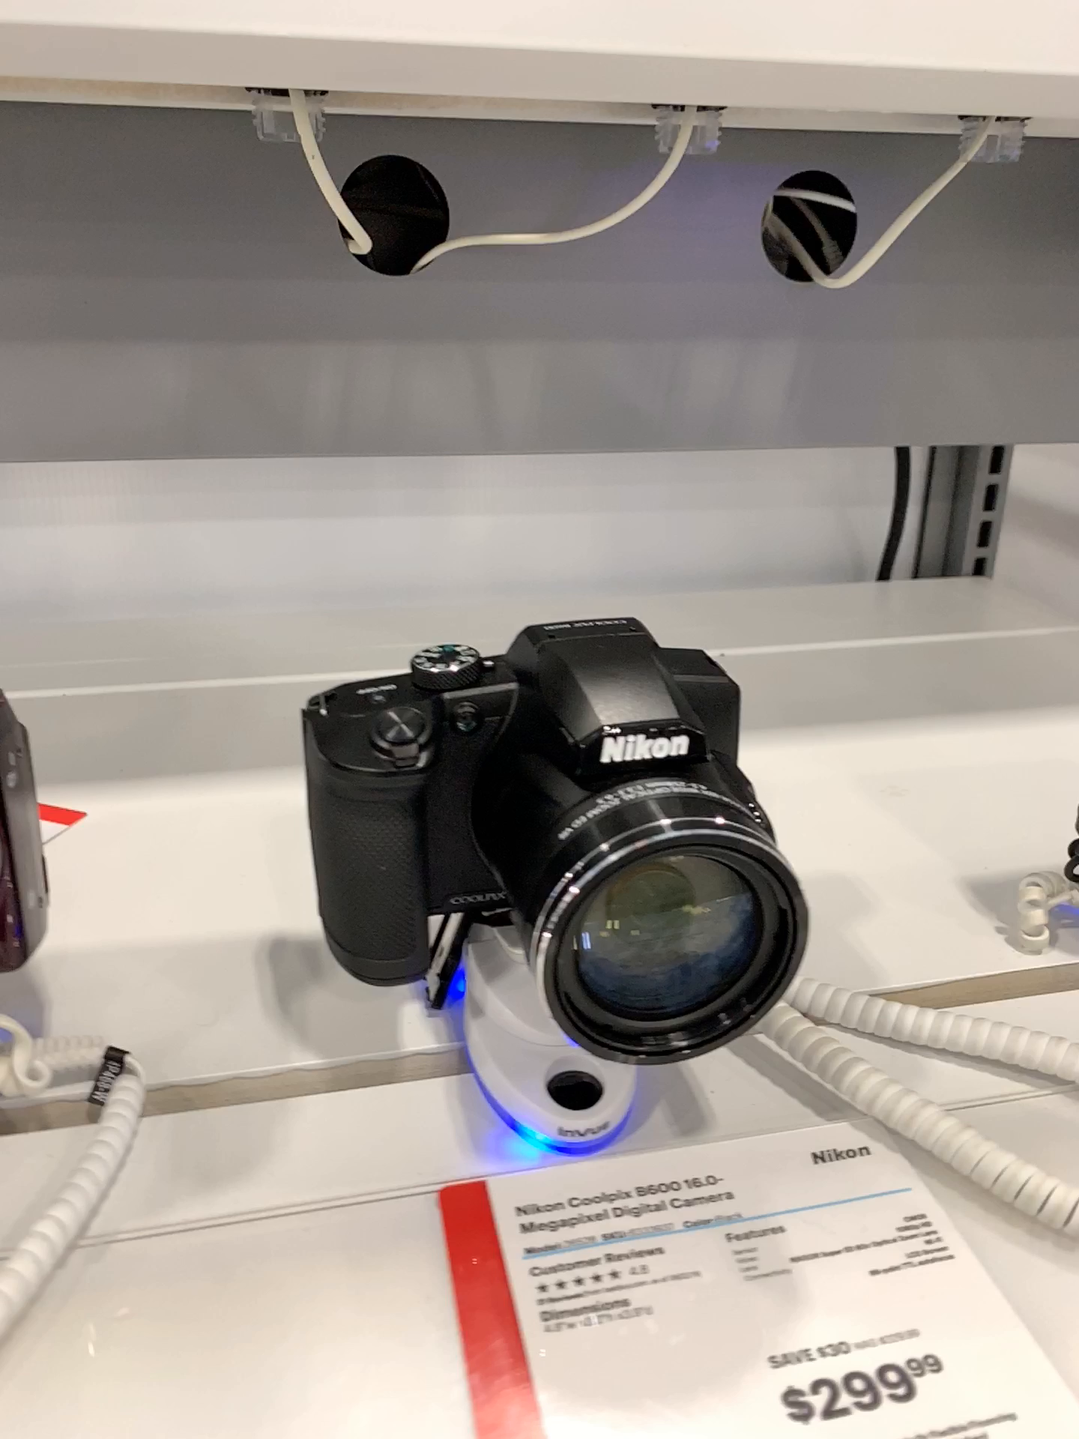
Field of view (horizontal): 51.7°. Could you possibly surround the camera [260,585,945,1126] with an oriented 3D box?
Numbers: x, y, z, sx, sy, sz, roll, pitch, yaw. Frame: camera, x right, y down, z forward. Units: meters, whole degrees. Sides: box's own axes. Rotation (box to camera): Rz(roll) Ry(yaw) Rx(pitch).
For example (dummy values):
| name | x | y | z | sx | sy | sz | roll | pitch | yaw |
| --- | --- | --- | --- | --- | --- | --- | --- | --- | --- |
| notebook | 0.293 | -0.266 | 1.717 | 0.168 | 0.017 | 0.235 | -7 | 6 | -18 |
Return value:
| name | x | y | z | sx | sy | sz | roll | pitch | yaw |
| --- | --- | --- | --- | --- | --- | --- | --- | --- | --- |
| camera | 0.004 | 0.020 | 0.271 | 0.130 | 0.070 | 0.111 | -6 | 23 | -14 |
